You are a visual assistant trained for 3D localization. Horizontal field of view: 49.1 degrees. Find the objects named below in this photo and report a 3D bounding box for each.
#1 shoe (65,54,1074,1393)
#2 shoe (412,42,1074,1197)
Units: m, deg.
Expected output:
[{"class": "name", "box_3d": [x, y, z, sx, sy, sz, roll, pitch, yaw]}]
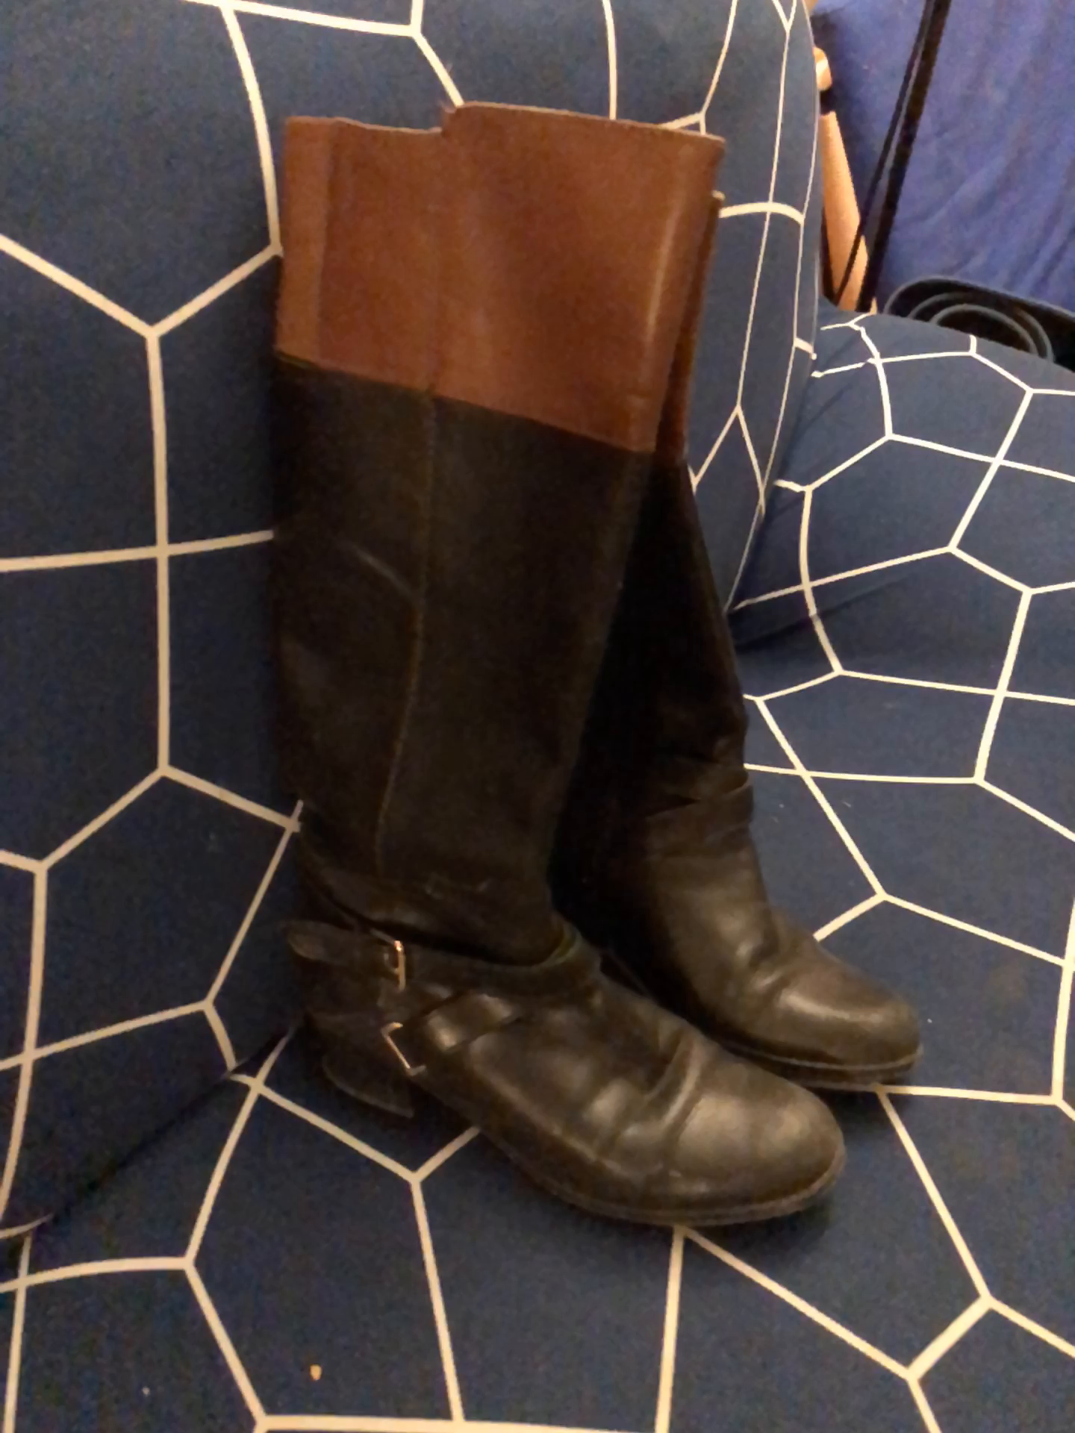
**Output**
[{"class": "shoe", "box_3d": [0.000, 0.021, 0.436, 0.271, 0.427, 0.110, 25, 42, 26]}, {"class": "shoe", "box_3d": [0.075, -0.025, 0.466, 0.100, 0.378, 0.251, -31, 50, -34]}]
